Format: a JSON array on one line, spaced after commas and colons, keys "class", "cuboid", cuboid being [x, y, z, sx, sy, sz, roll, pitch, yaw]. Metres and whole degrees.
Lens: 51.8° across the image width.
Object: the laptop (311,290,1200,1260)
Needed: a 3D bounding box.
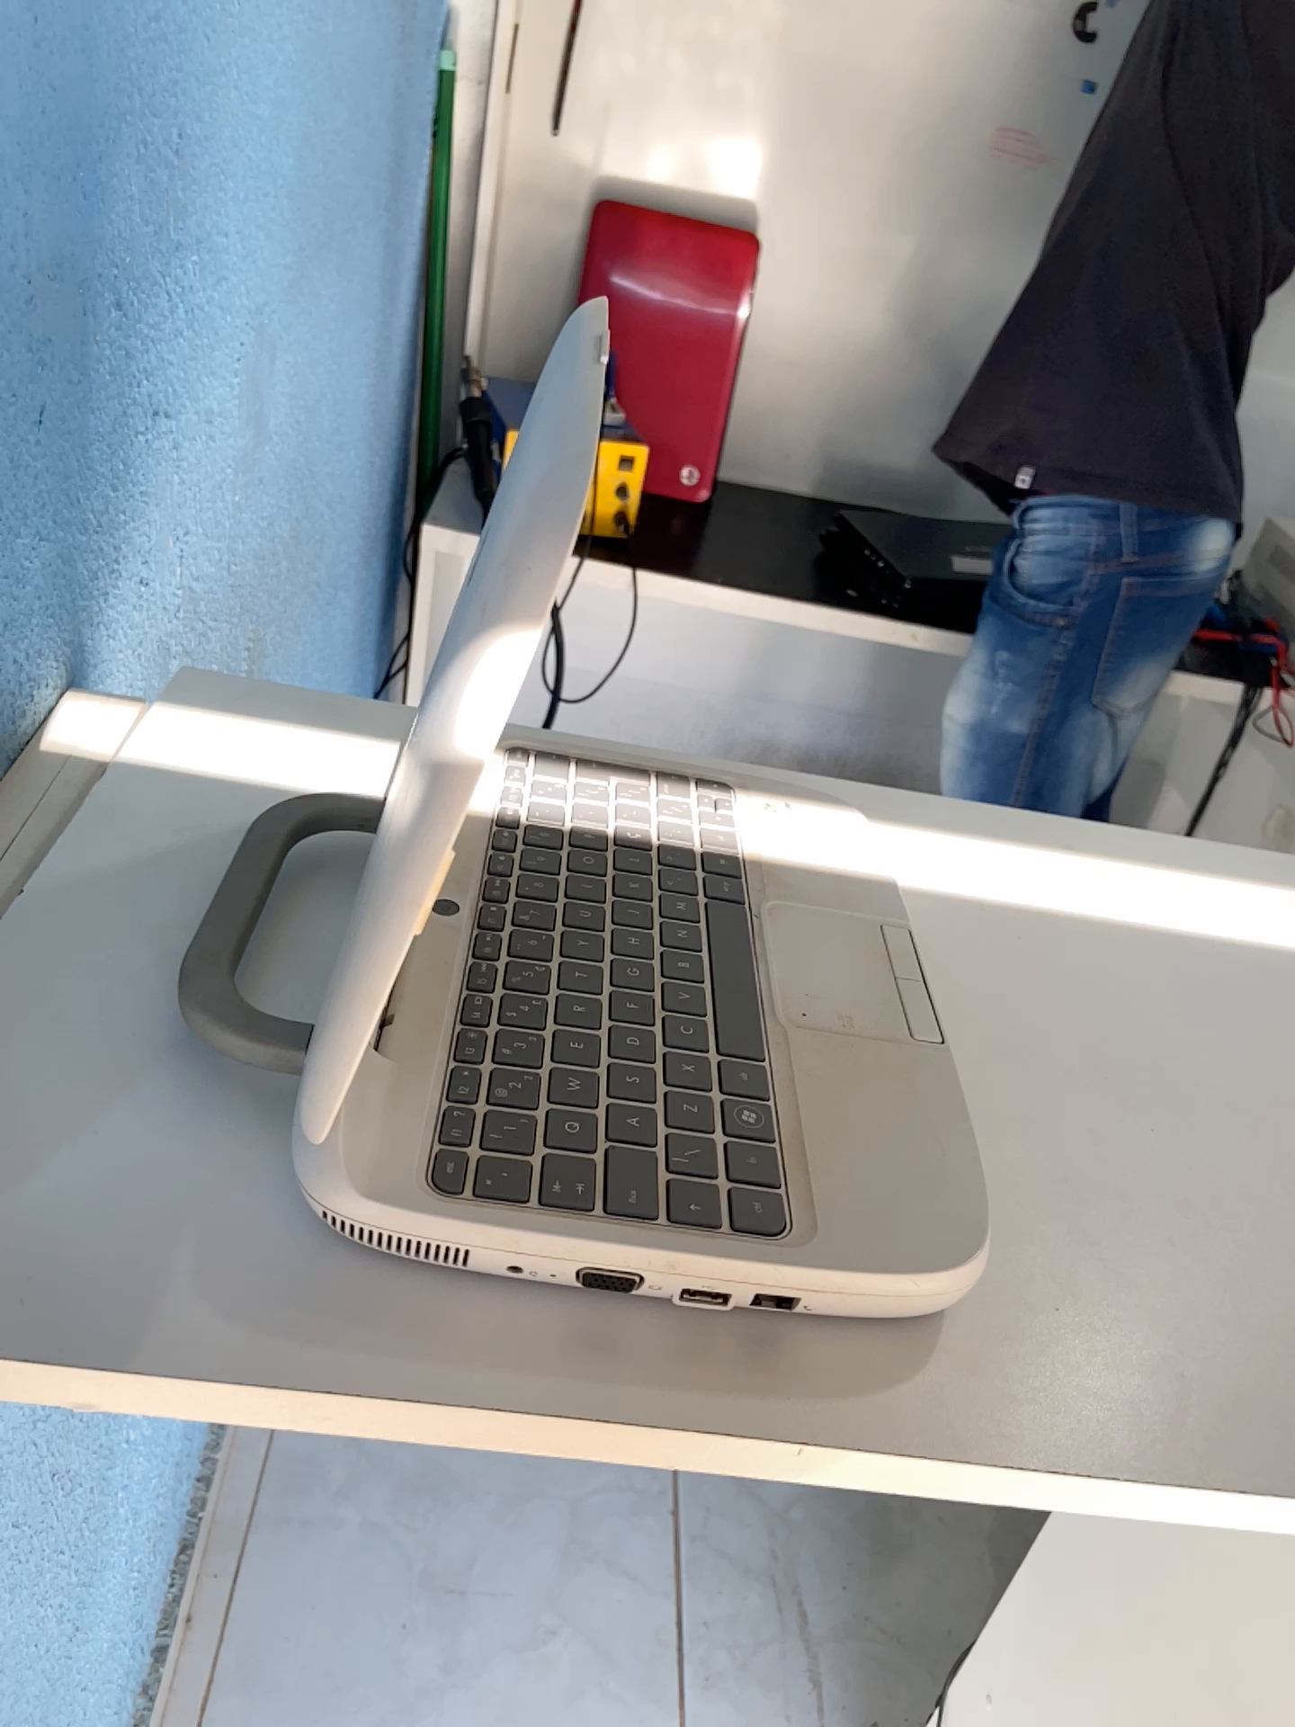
[{"class": "laptop", "cuboid": [0.015, -0.045, 0.417, 0.177, 0.172, 0.249, 9, 32, -7]}]
